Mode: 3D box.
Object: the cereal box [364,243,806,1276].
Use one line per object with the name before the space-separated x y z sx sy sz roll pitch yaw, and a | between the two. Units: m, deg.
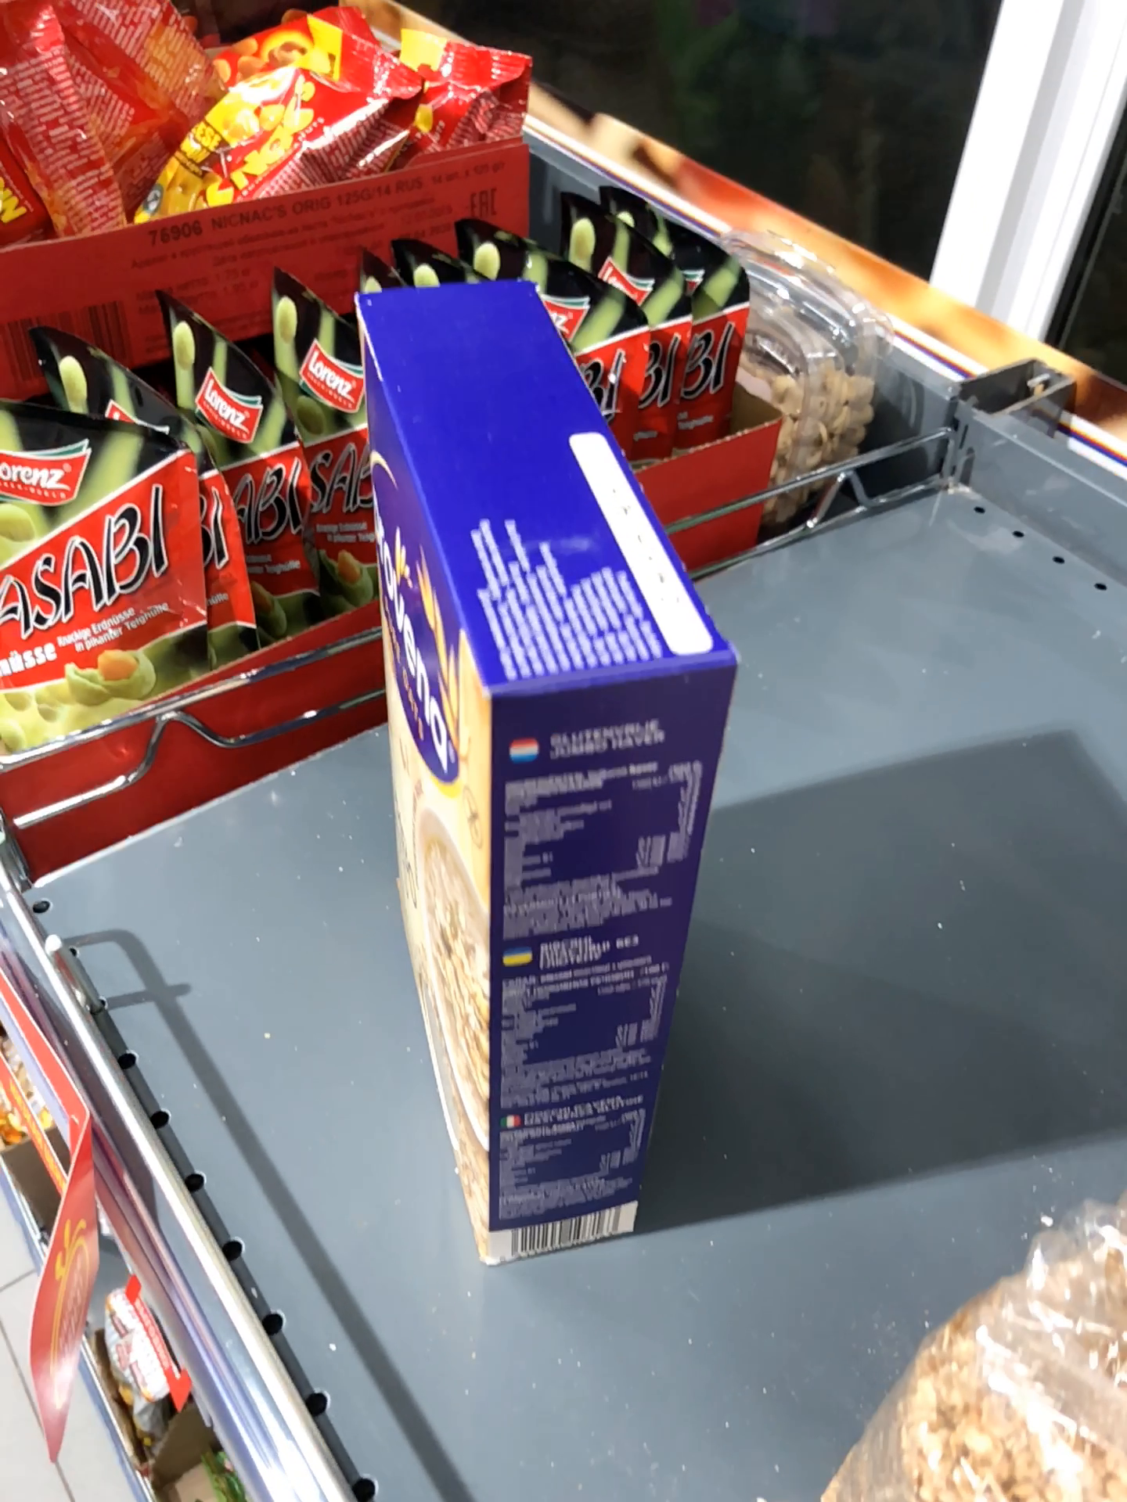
cereal box | -0.010 0.013 0.329 0.050 0.229 0.151 -8 47 -12
